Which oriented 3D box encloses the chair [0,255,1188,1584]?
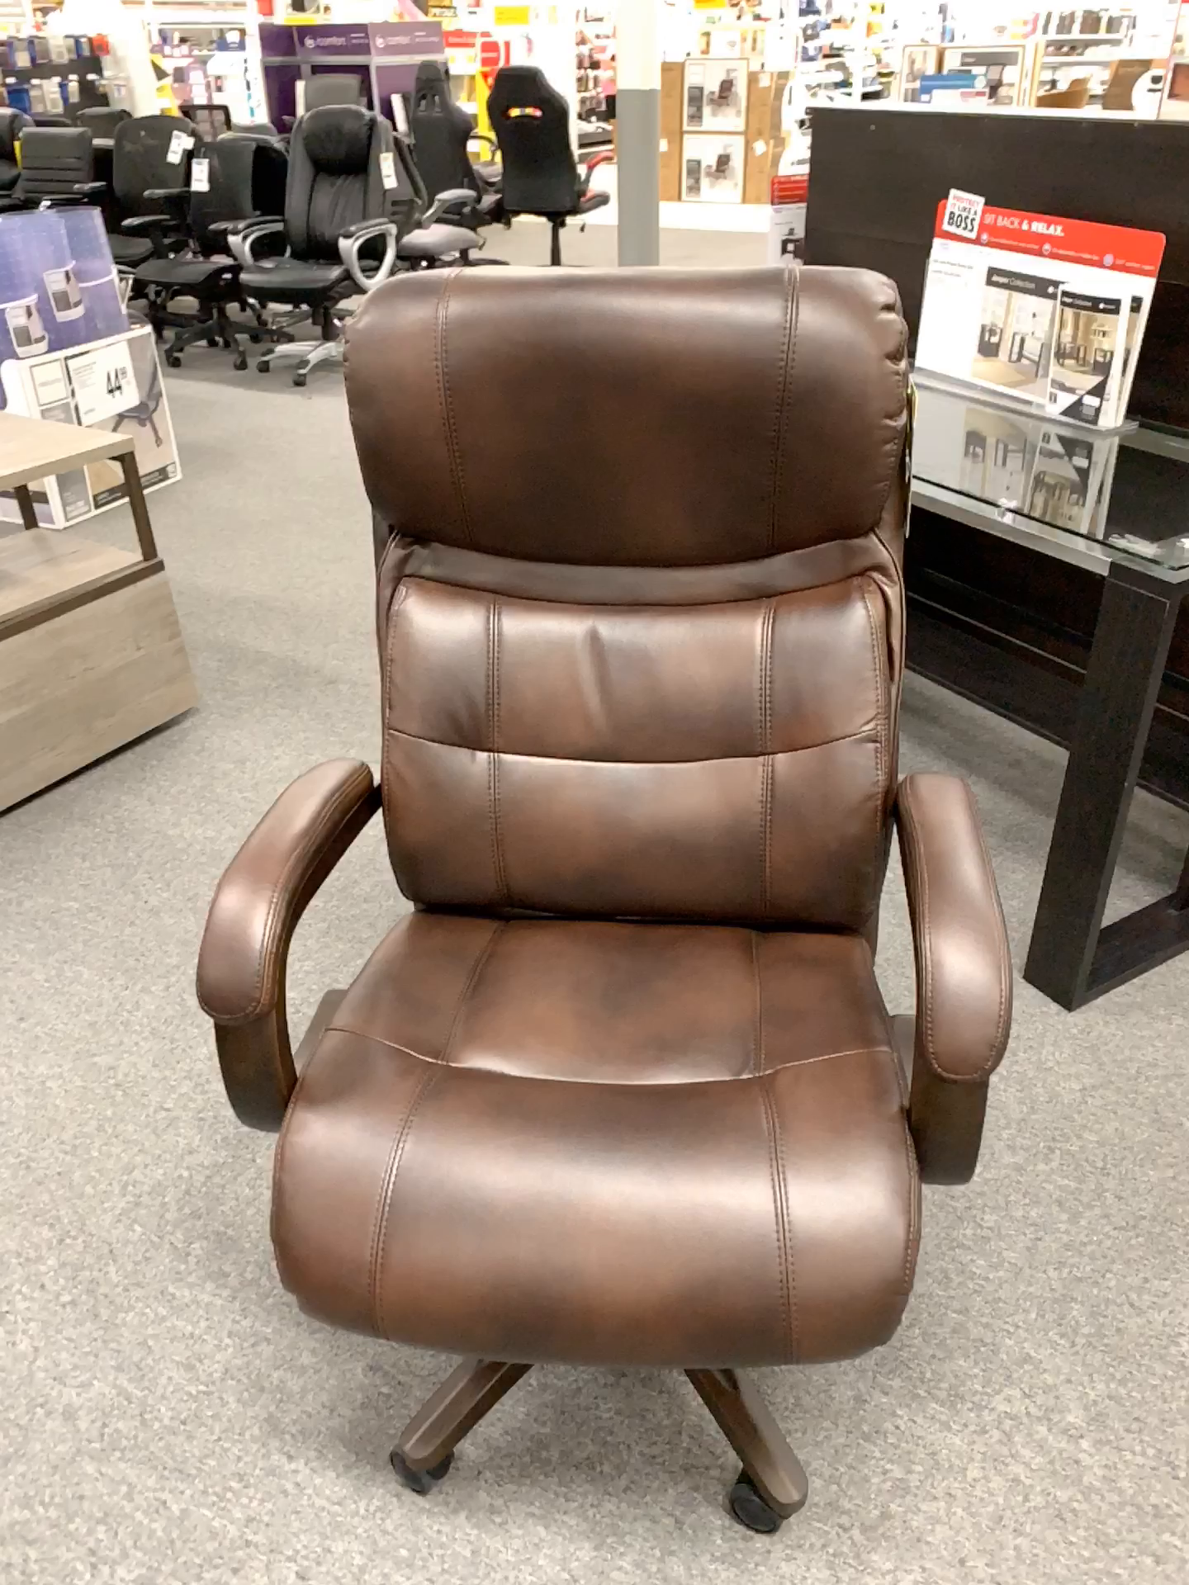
[{"bbox_3d":[0.008,0.110,1.210,0.710,1.094,0.704,2,32,6],"label":"chair"}]
